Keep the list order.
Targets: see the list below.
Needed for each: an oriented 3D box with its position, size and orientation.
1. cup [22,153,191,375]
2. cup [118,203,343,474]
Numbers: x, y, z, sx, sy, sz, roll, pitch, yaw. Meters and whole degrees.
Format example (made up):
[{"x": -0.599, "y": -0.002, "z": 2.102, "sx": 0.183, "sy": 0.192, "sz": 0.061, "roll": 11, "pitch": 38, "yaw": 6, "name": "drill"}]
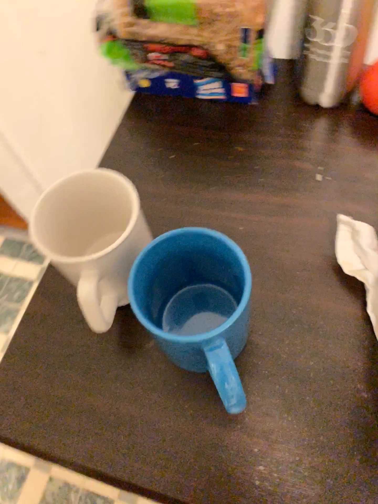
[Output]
[{"x": -0.064, "y": 0.013, "z": 0.318, "sx": 0.090, "sy": 0.100, "sz": 0.130, "roll": -17, "pitch": 61, "yaw": -1, "name": "cup"}, {"x": 0.021, "y": 0.062, "z": 0.274, "sx": 0.090, "sy": 0.100, "sz": 0.140, "roll": -18, "pitch": 61, "yaw": -2, "name": "cup"}]
